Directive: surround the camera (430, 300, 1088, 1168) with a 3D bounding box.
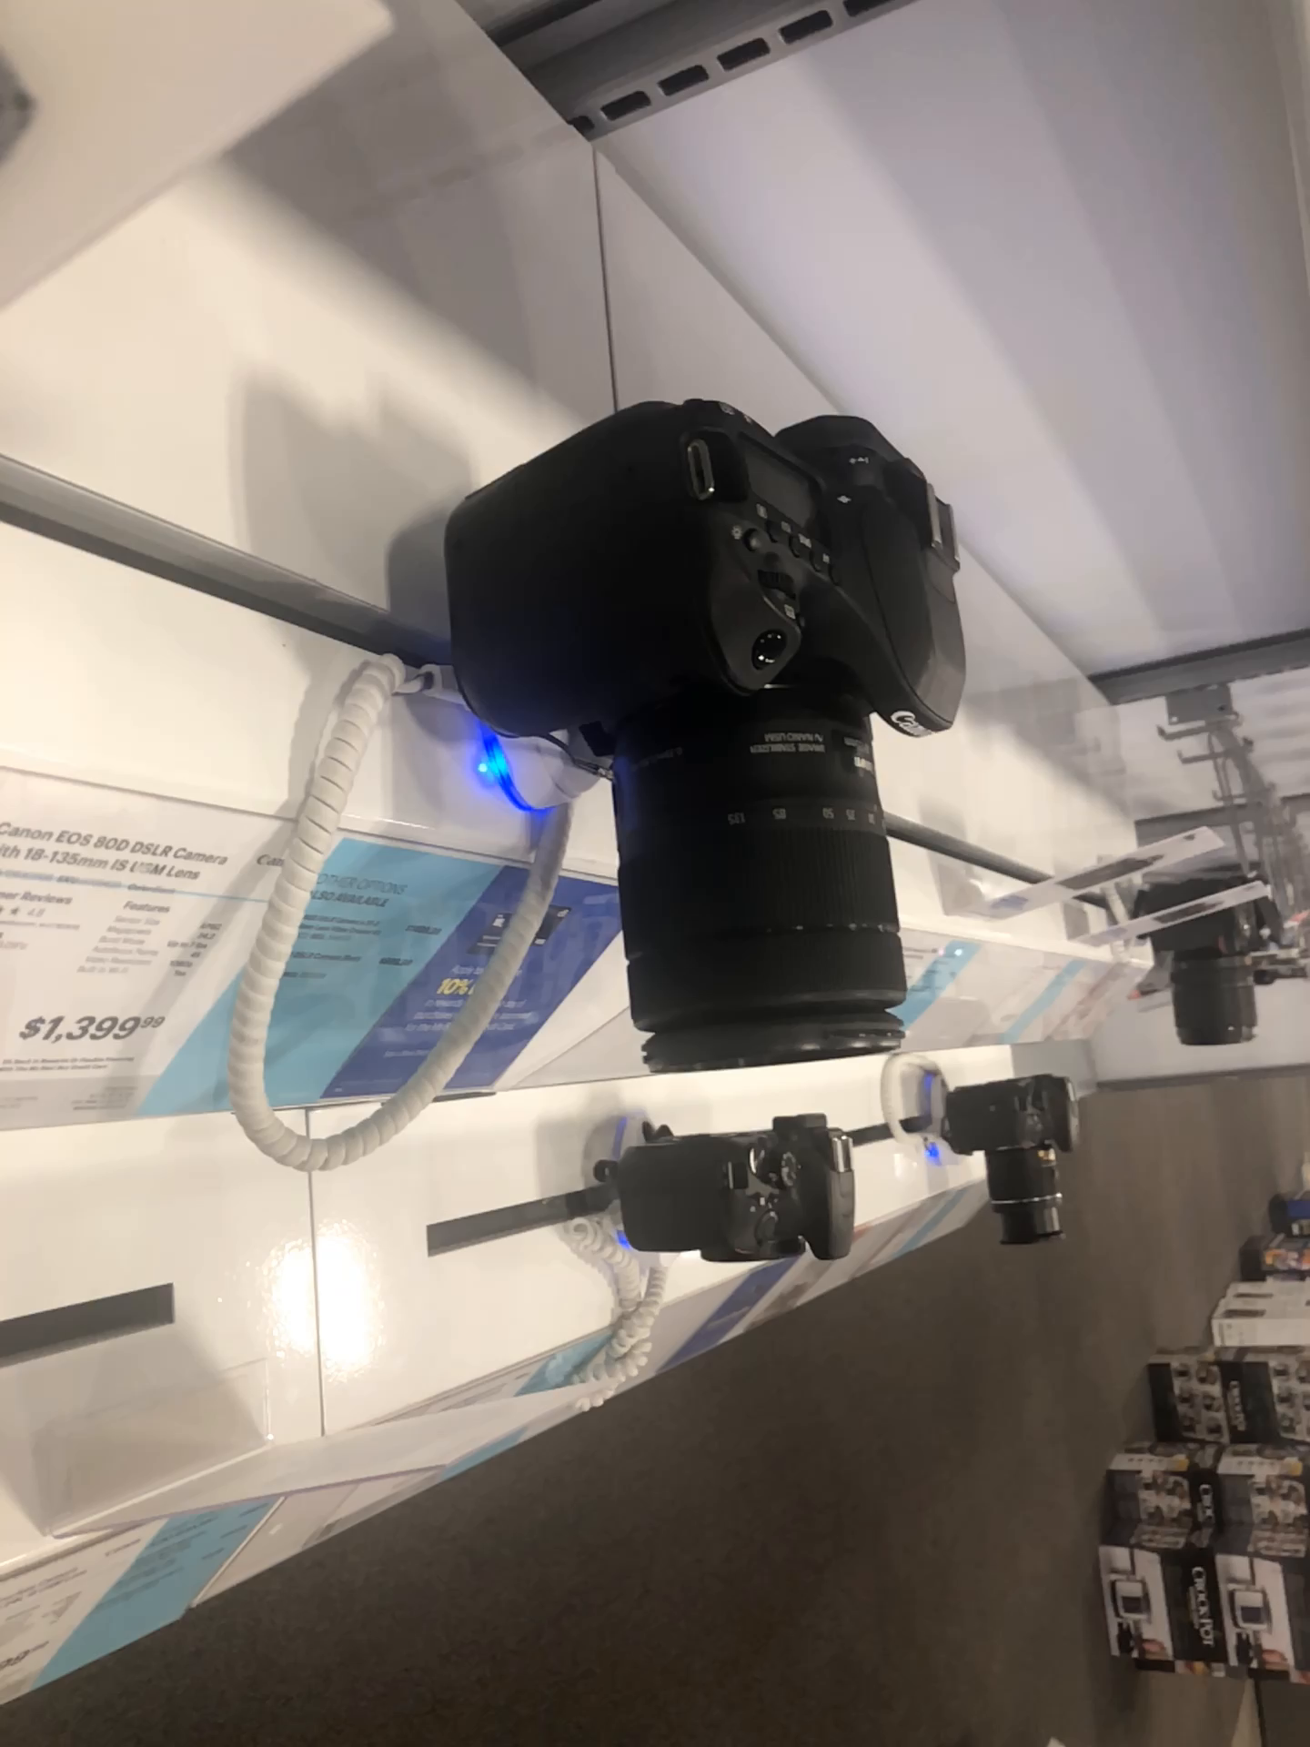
[{"bbox_3d":[0.035,-0.022,0.394,0.151,0.109,0.180,10,72,-63],"label":"camera"}]
